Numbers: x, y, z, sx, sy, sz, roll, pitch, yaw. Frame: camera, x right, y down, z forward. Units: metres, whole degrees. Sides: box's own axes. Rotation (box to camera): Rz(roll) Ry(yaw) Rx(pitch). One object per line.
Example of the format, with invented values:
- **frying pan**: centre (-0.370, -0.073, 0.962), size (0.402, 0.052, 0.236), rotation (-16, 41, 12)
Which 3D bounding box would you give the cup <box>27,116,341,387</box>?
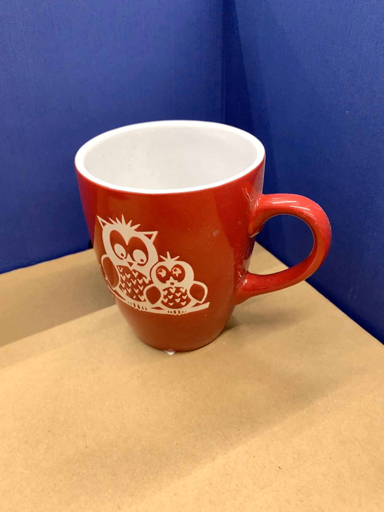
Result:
- **cup**: centre (0.005, -0.012, 0.213), size (0.120, 0.091, 0.100), rotation (7, 34, 12)
